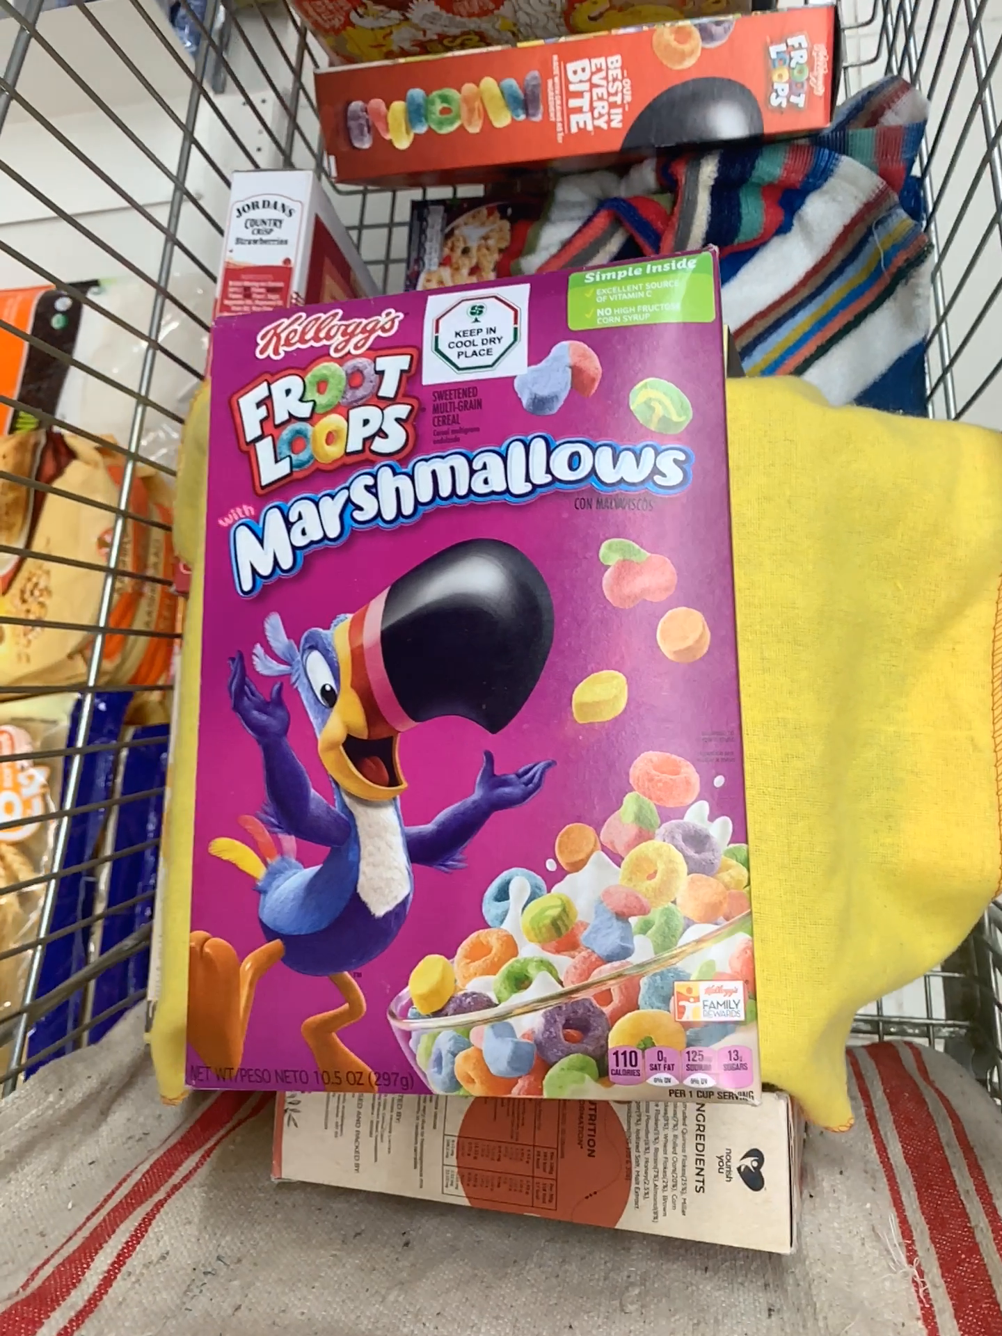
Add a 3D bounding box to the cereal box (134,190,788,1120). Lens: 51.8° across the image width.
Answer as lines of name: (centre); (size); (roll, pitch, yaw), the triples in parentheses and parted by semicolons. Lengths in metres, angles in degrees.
cereal box: (-0.012, -0.004, 0.348); (0.190, 0.070, 0.270); (-3, 80, 12)
